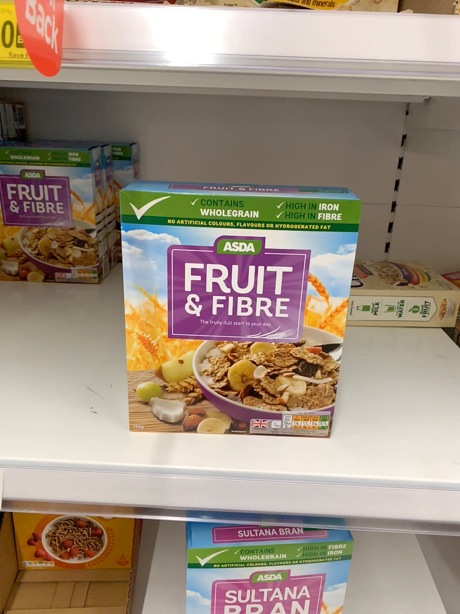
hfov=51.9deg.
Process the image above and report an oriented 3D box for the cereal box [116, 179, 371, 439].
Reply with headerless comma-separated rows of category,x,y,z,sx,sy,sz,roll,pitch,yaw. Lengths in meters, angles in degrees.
cereal box,0.008,0.005,0.509,0.230,0.258,0.081,2,21,0
